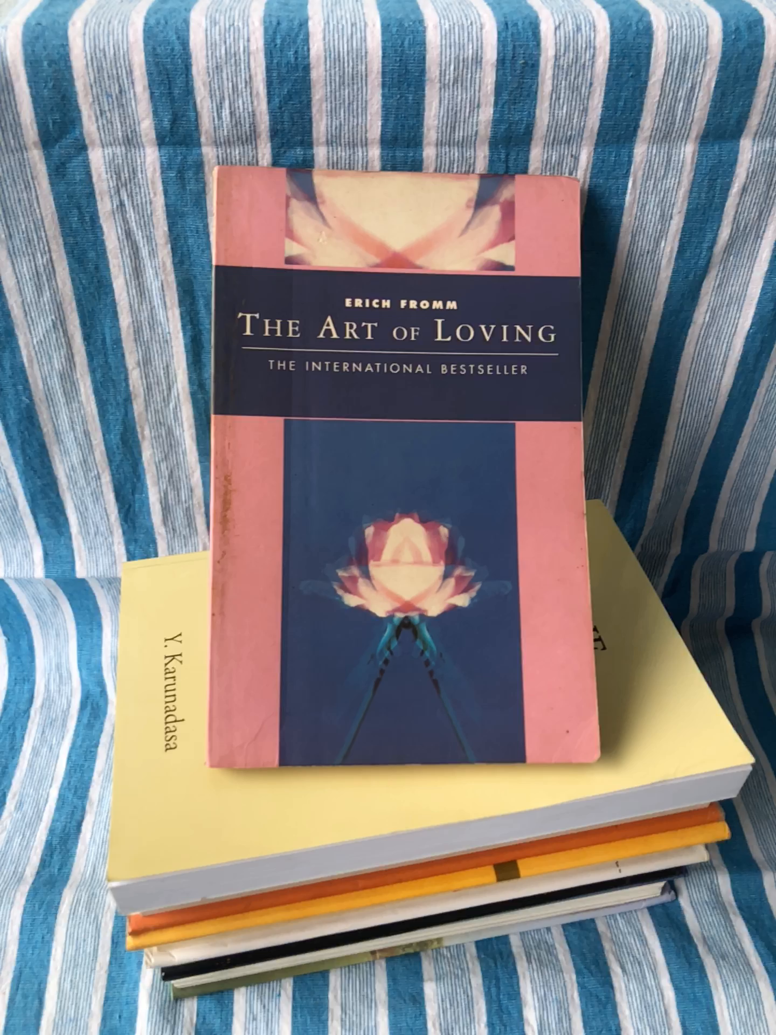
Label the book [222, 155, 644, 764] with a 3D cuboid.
[{"bbox_3d":[0.013,-0.021,0.278,0.129,0.015,0.193,0,85,-2],"label":"book"}]
